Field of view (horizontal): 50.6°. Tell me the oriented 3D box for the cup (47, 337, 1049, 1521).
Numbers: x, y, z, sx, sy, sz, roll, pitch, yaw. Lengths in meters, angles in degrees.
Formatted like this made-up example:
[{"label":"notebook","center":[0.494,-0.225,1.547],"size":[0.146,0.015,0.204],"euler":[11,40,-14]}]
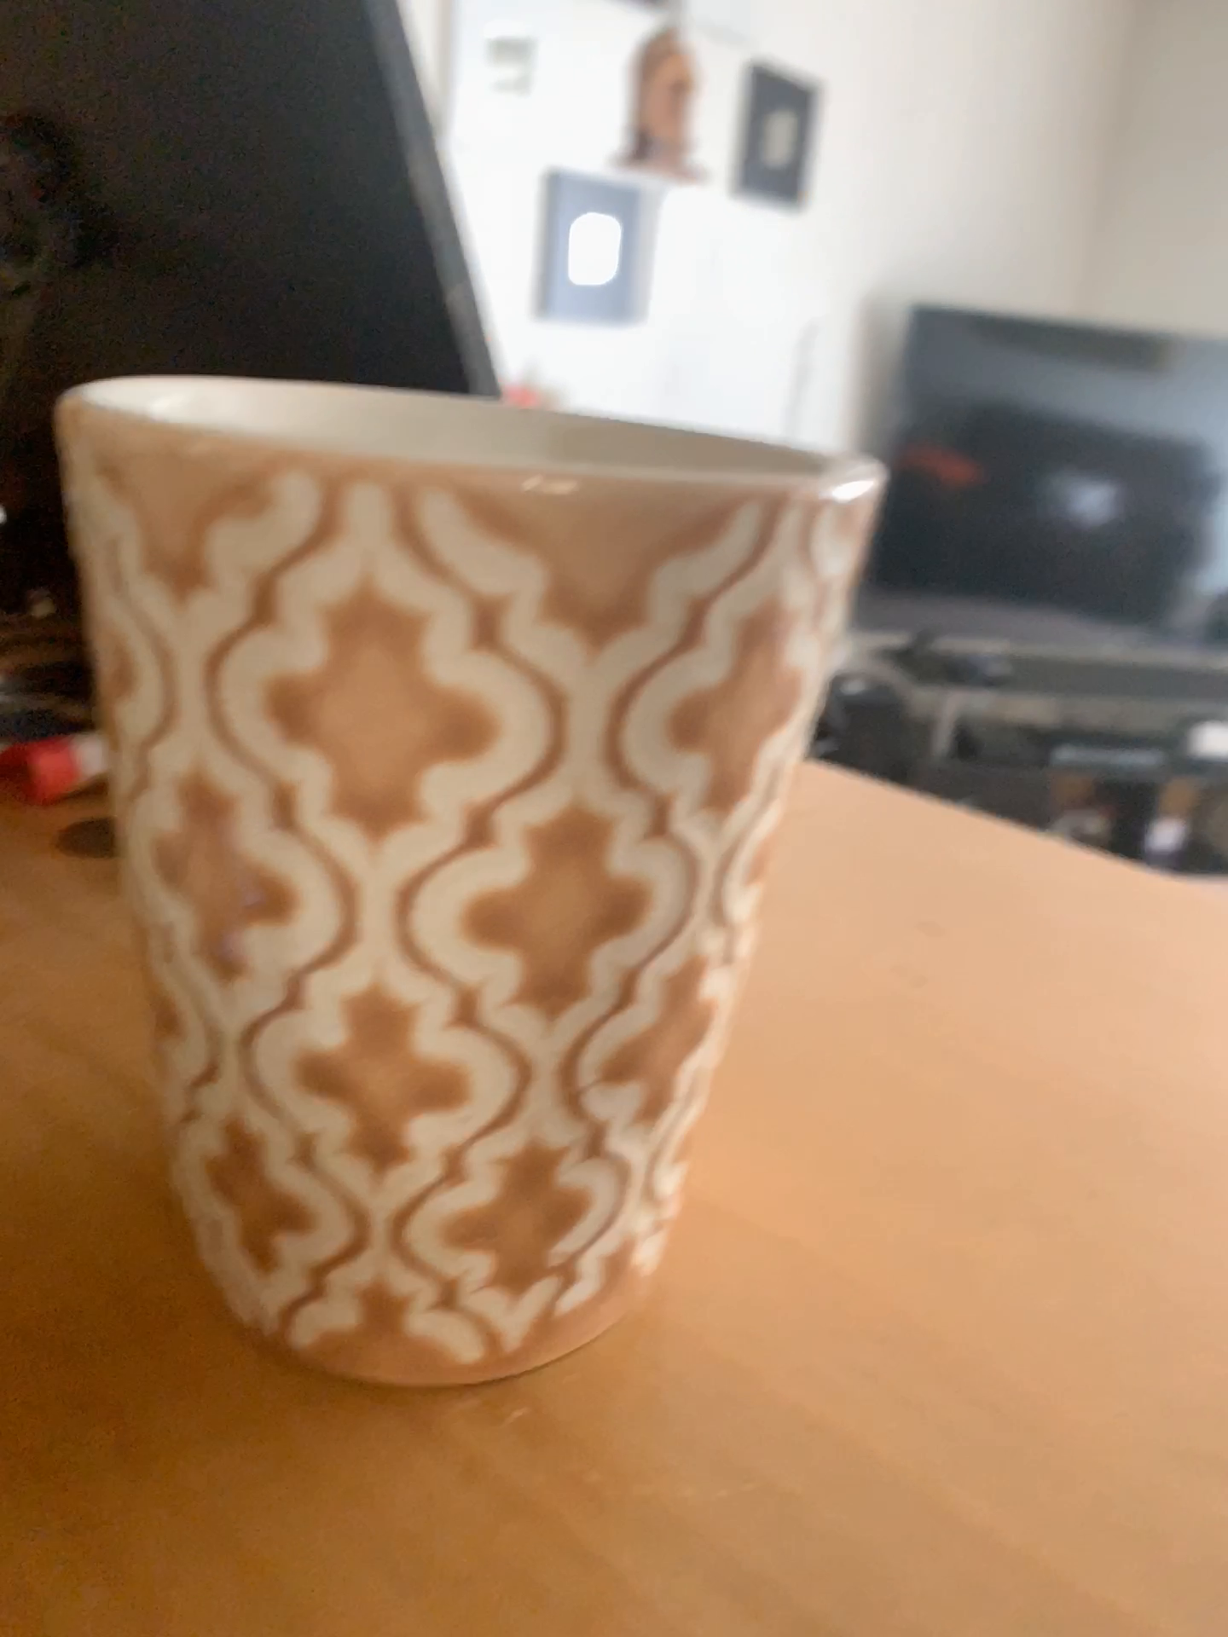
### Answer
[{"label":"cup","center":[-0.025,-0.003,0.182],"size":[0.090,0.109,0.121],"euler":[-3,22,-20]}]
